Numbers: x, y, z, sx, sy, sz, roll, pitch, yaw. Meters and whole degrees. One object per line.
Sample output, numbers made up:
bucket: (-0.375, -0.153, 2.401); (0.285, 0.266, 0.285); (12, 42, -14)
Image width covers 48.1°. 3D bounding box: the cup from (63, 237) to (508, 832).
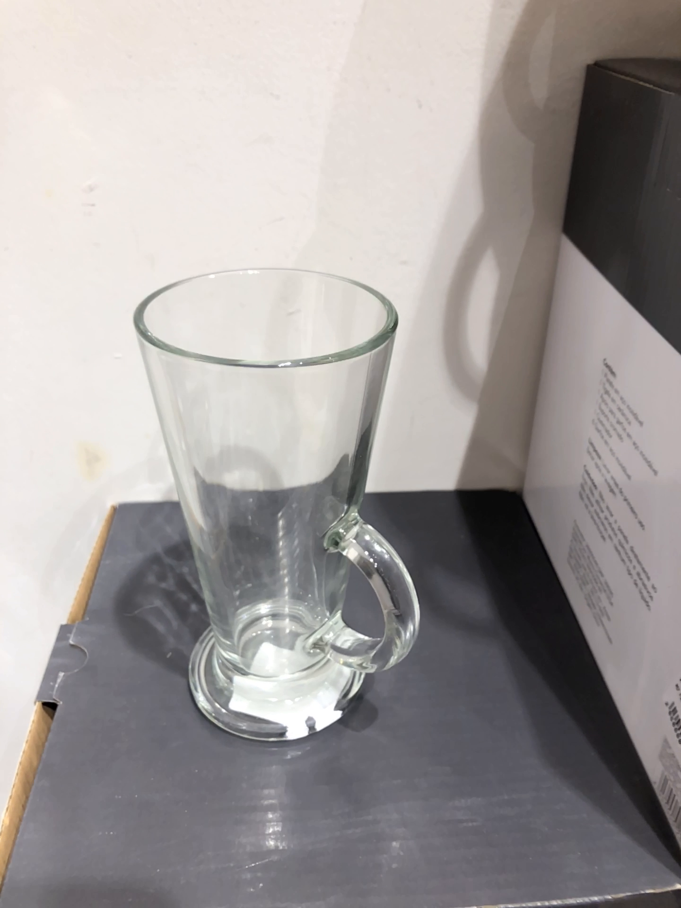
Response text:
cup: (-0.015, 0.022, 0.247); (0.090, 0.149, 0.080); (24, 39, 31)
